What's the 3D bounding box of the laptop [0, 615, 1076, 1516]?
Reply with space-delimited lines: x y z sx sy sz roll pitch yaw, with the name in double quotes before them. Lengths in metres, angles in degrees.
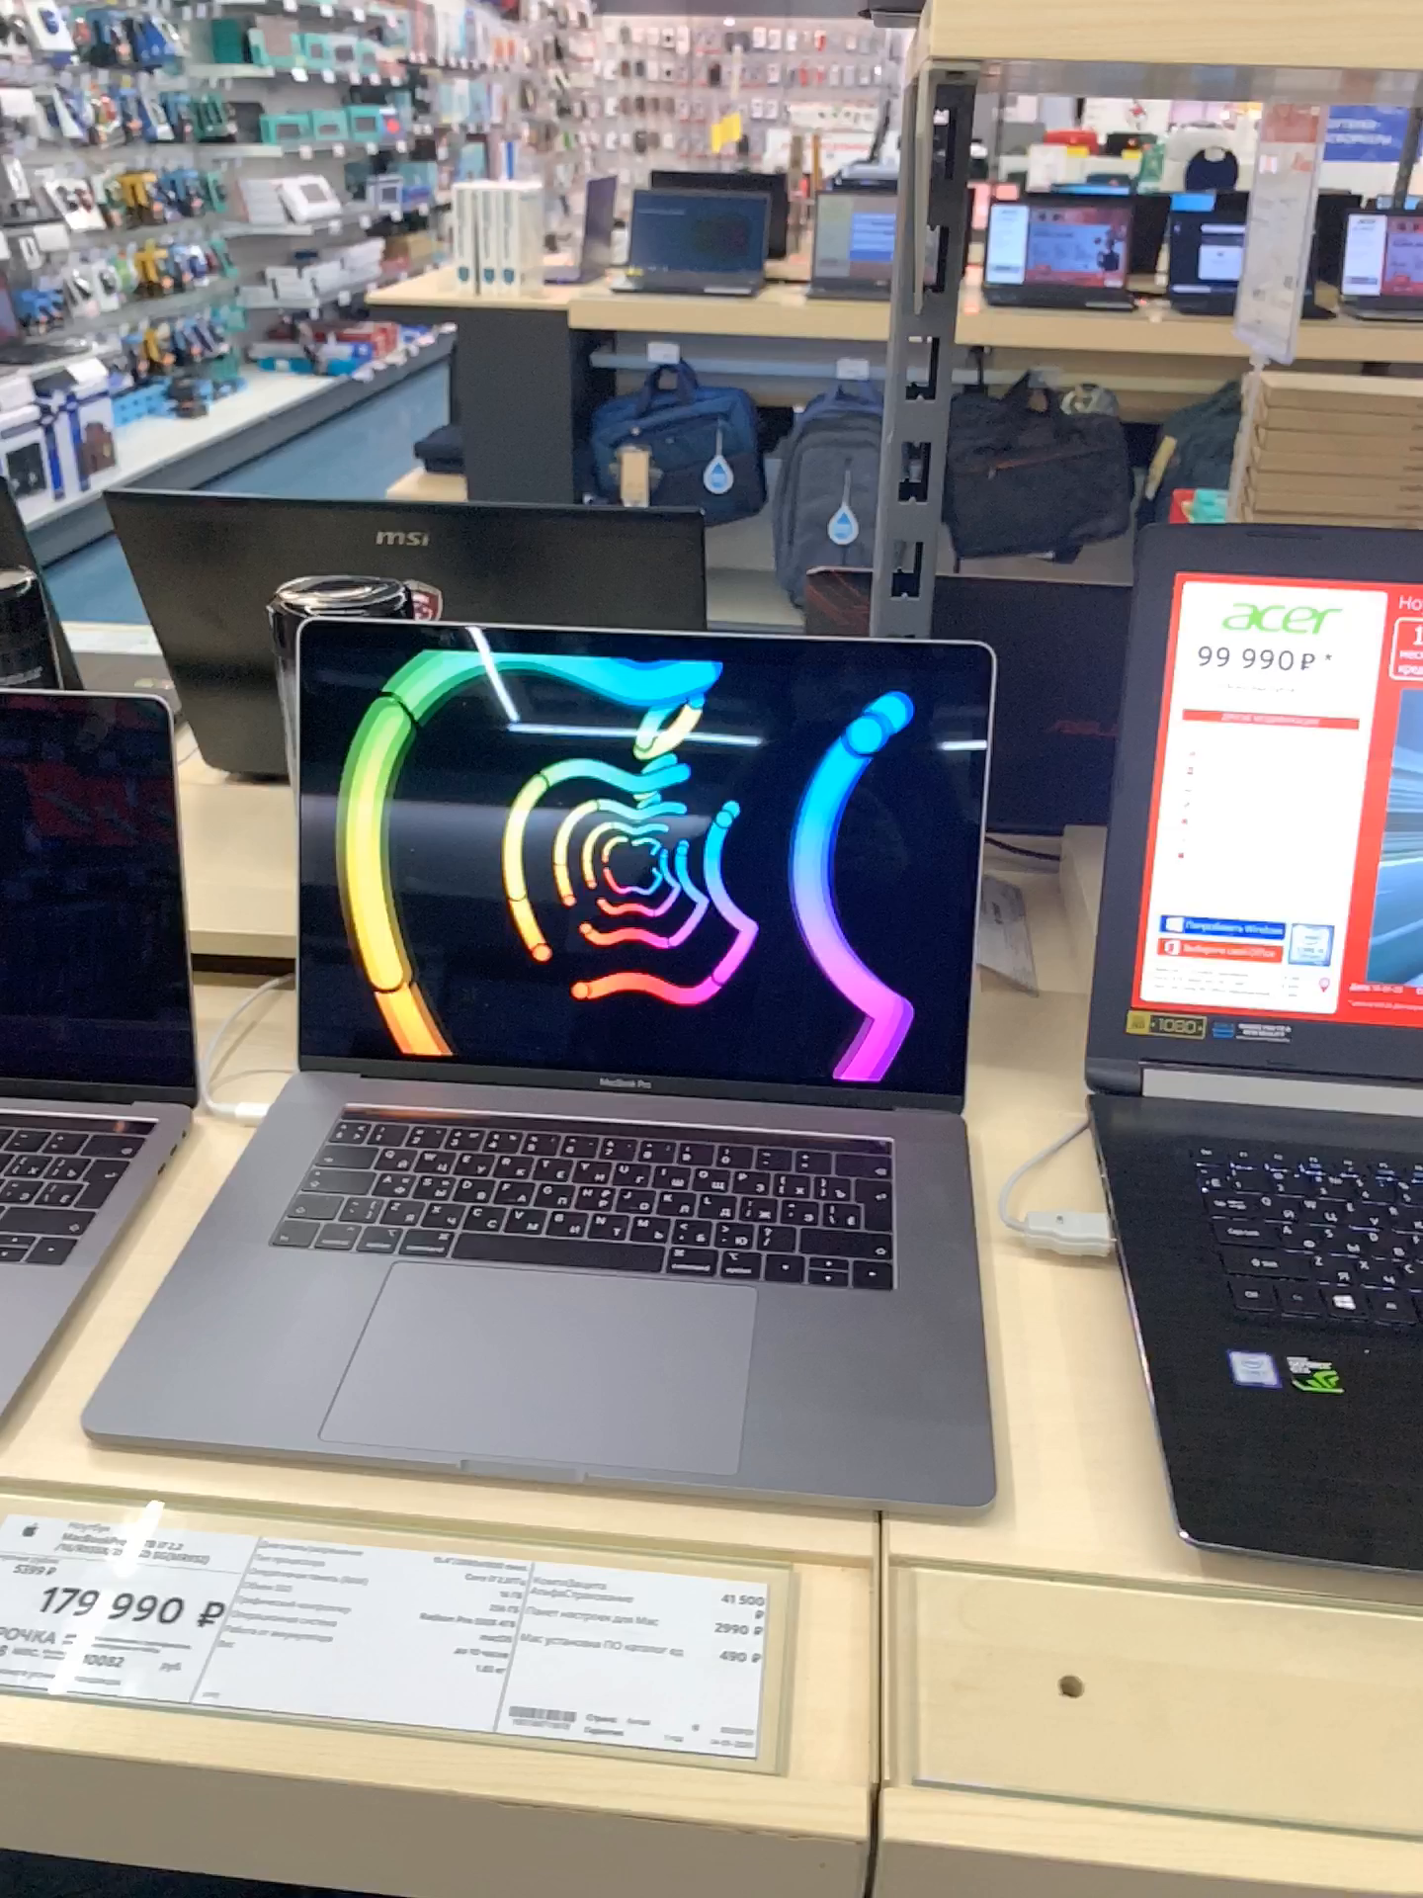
"laptop" -0.053 0.018 0.626 0.344 0.210 0.326 4 30 5
